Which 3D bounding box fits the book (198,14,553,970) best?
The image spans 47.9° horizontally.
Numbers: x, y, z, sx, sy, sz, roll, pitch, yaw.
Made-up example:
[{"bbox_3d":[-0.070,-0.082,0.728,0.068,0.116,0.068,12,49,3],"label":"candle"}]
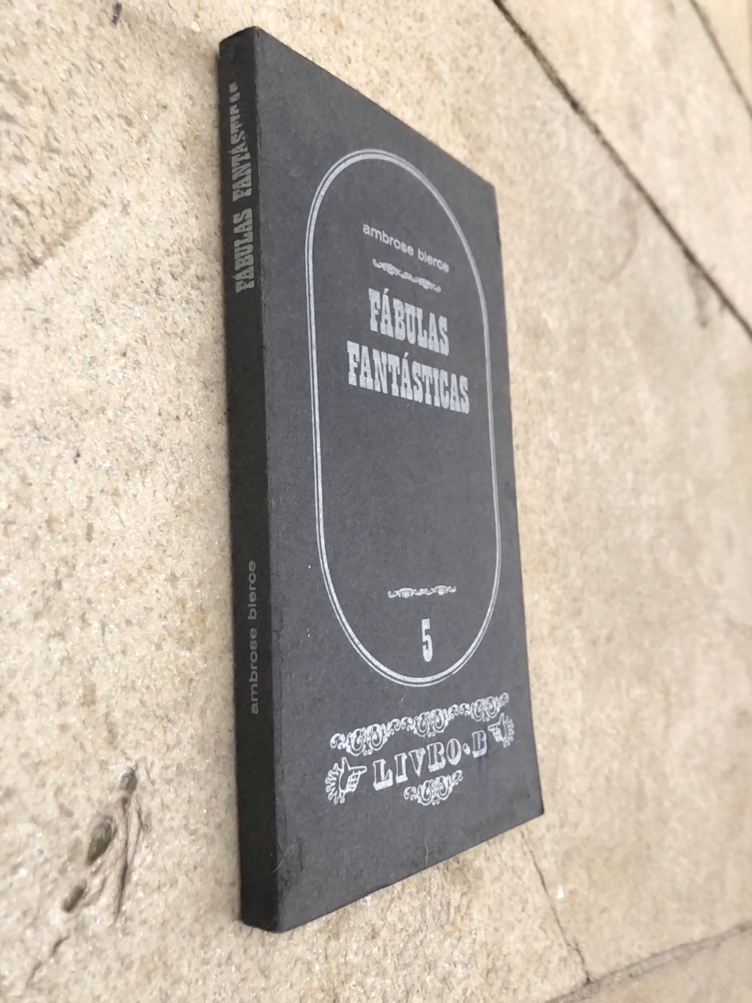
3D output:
[{"bbox_3d":[0.006,-0.004,0.199,0.105,0.013,0.176,5,80,-51],"label":"book"}]
